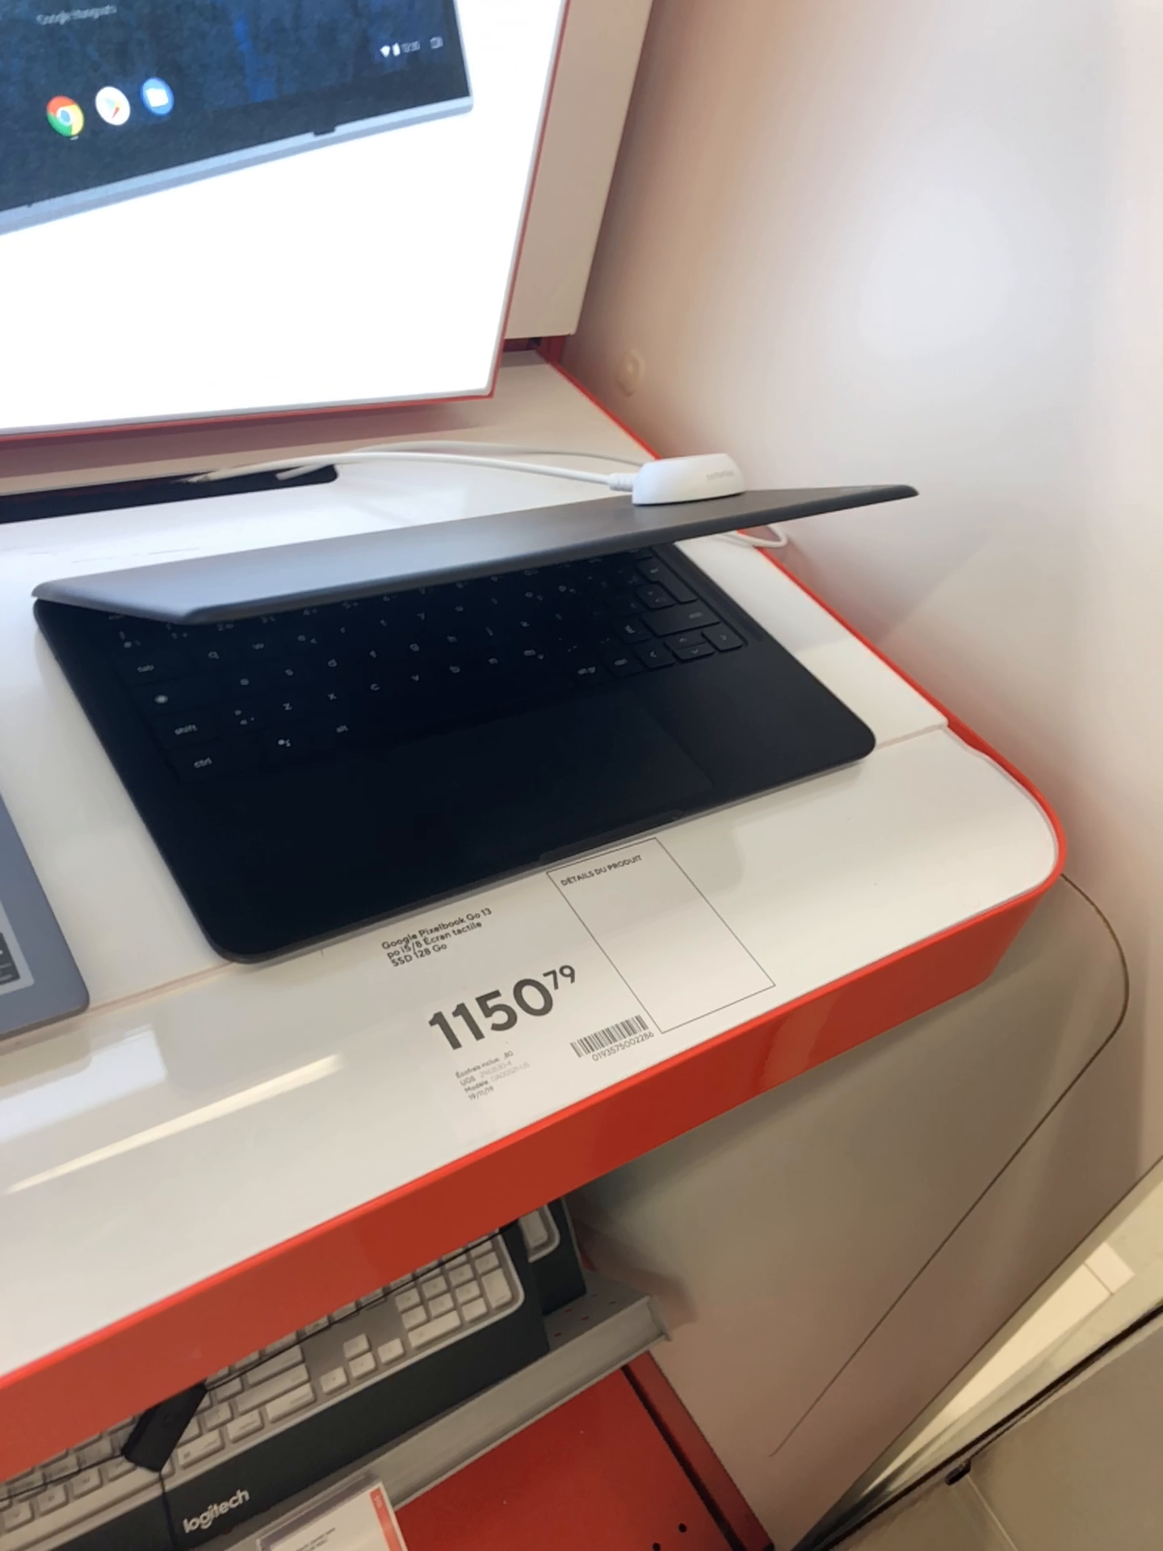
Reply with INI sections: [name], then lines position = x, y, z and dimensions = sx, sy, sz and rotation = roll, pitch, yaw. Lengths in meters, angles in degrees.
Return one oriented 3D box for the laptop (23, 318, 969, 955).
[laptop]
position = -0.034, -0.081, 0.510
dimensions = 0.299, 0.106, 0.199
rotation = -16, 50, -33
